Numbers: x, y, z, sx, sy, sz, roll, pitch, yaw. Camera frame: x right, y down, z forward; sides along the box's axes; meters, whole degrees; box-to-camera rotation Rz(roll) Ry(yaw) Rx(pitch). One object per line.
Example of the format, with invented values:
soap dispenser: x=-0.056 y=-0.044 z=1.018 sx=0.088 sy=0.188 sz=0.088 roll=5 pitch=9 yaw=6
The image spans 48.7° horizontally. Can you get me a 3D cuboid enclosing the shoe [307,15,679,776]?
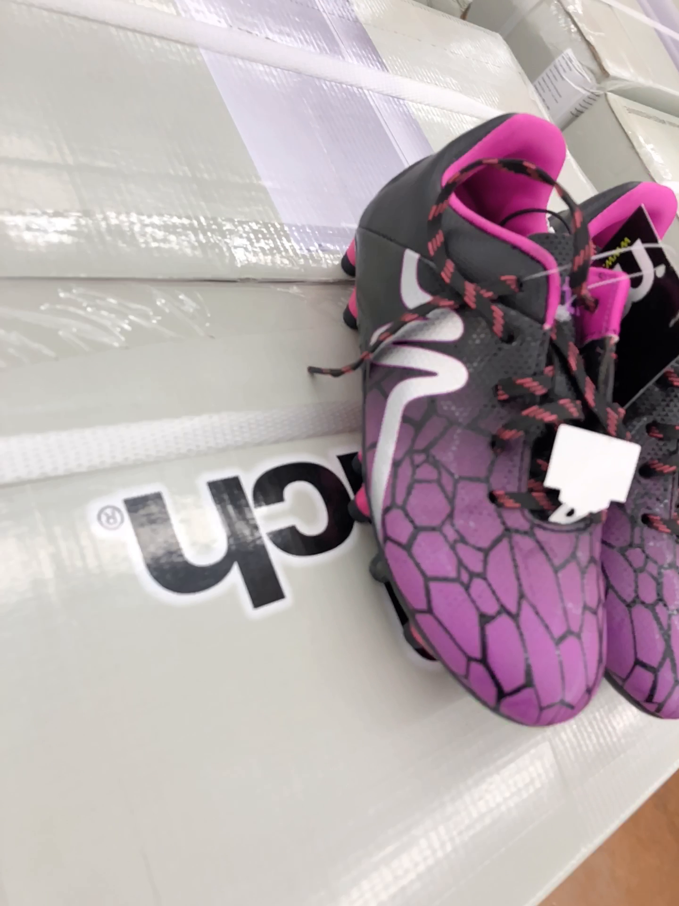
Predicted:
shoe: x=0.058 y=-0.019 z=0.240 sx=0.080 sy=0.080 sz=0.210 roll=9 pitch=60 yaw=-34

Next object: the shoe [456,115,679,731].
shoe: x=0.125 y=-0.012 z=0.293 sx=0.080 sy=0.080 sz=0.210 roll=8 pitch=60 yaw=-35
